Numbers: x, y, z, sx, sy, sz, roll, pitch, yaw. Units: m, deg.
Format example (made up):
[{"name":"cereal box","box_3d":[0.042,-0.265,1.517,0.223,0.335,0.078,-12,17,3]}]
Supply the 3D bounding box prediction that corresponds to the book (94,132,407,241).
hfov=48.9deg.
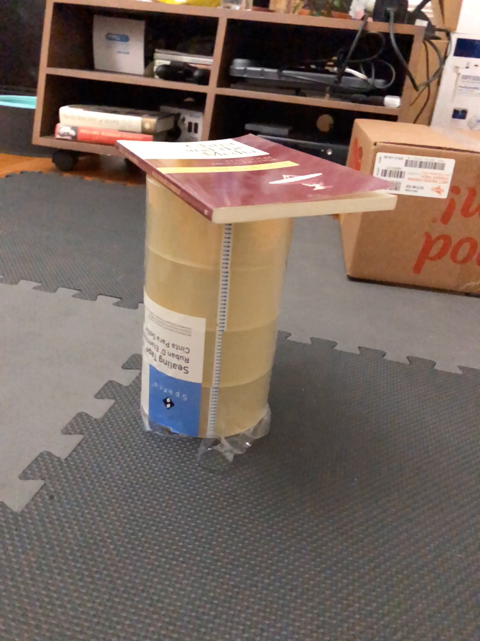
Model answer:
[{"name":"book","box_3d":[-0.008,-0.106,0.381,0.140,0.020,0.211,-9,30,-27]}]
